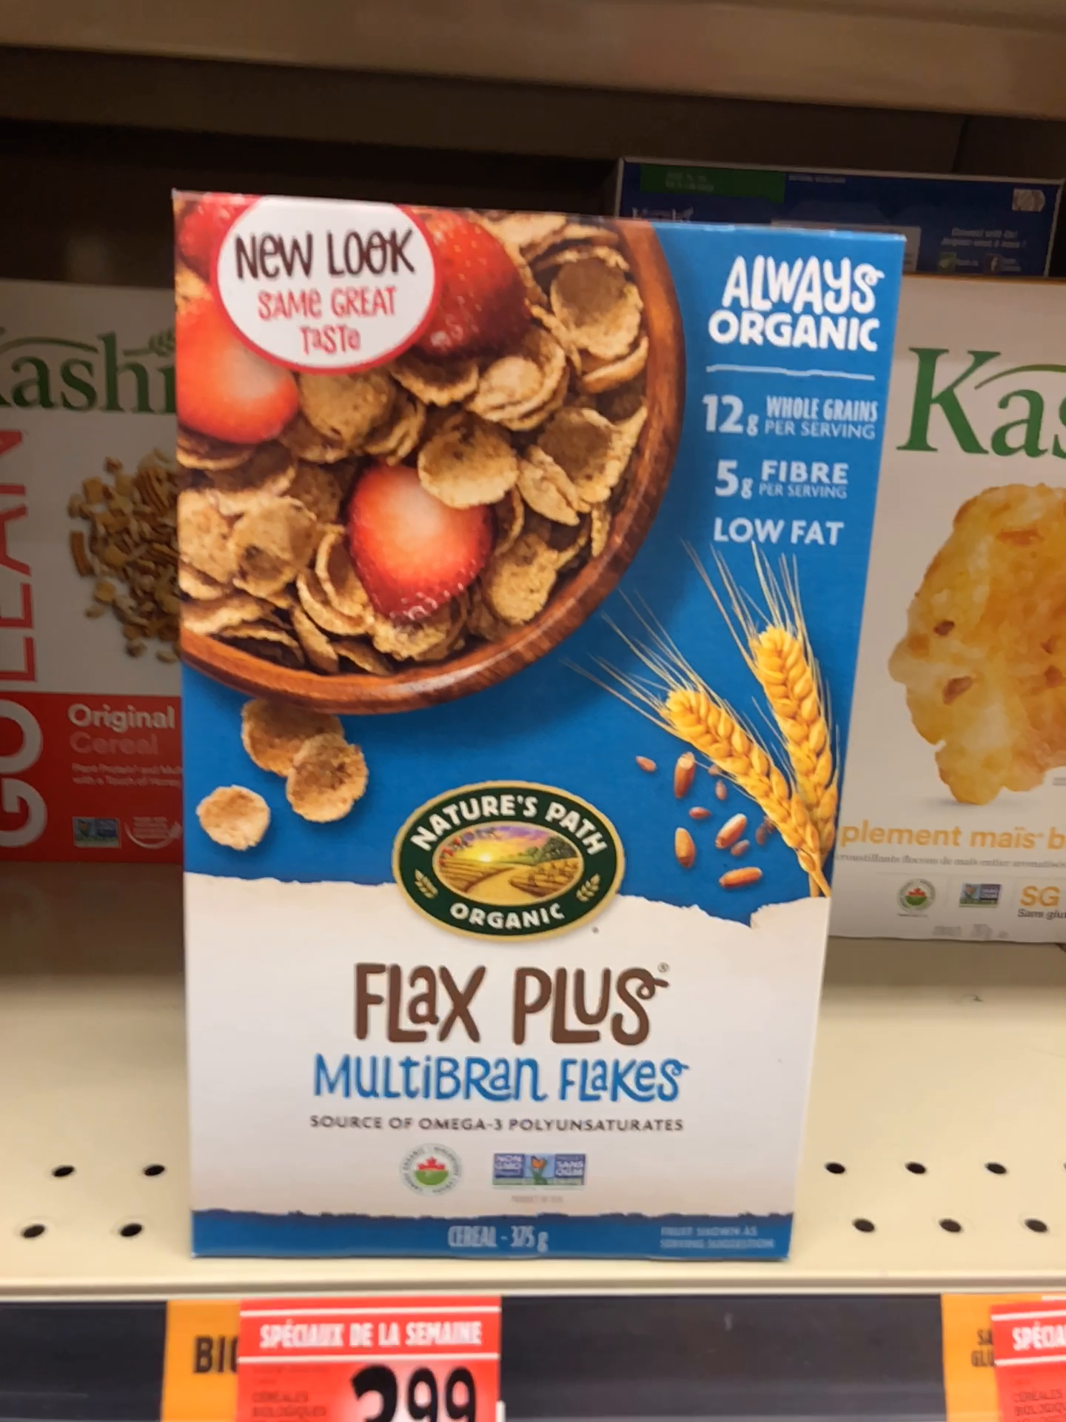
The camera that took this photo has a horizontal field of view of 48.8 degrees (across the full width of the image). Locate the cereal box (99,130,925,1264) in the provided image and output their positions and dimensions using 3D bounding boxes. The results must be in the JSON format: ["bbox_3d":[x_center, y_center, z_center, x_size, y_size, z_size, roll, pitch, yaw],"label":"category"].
[{"bbox_3d":[-0.011,0.006,0.310,0.170,0.269,0.070,2,15,-3],"label":"cereal box"}]
